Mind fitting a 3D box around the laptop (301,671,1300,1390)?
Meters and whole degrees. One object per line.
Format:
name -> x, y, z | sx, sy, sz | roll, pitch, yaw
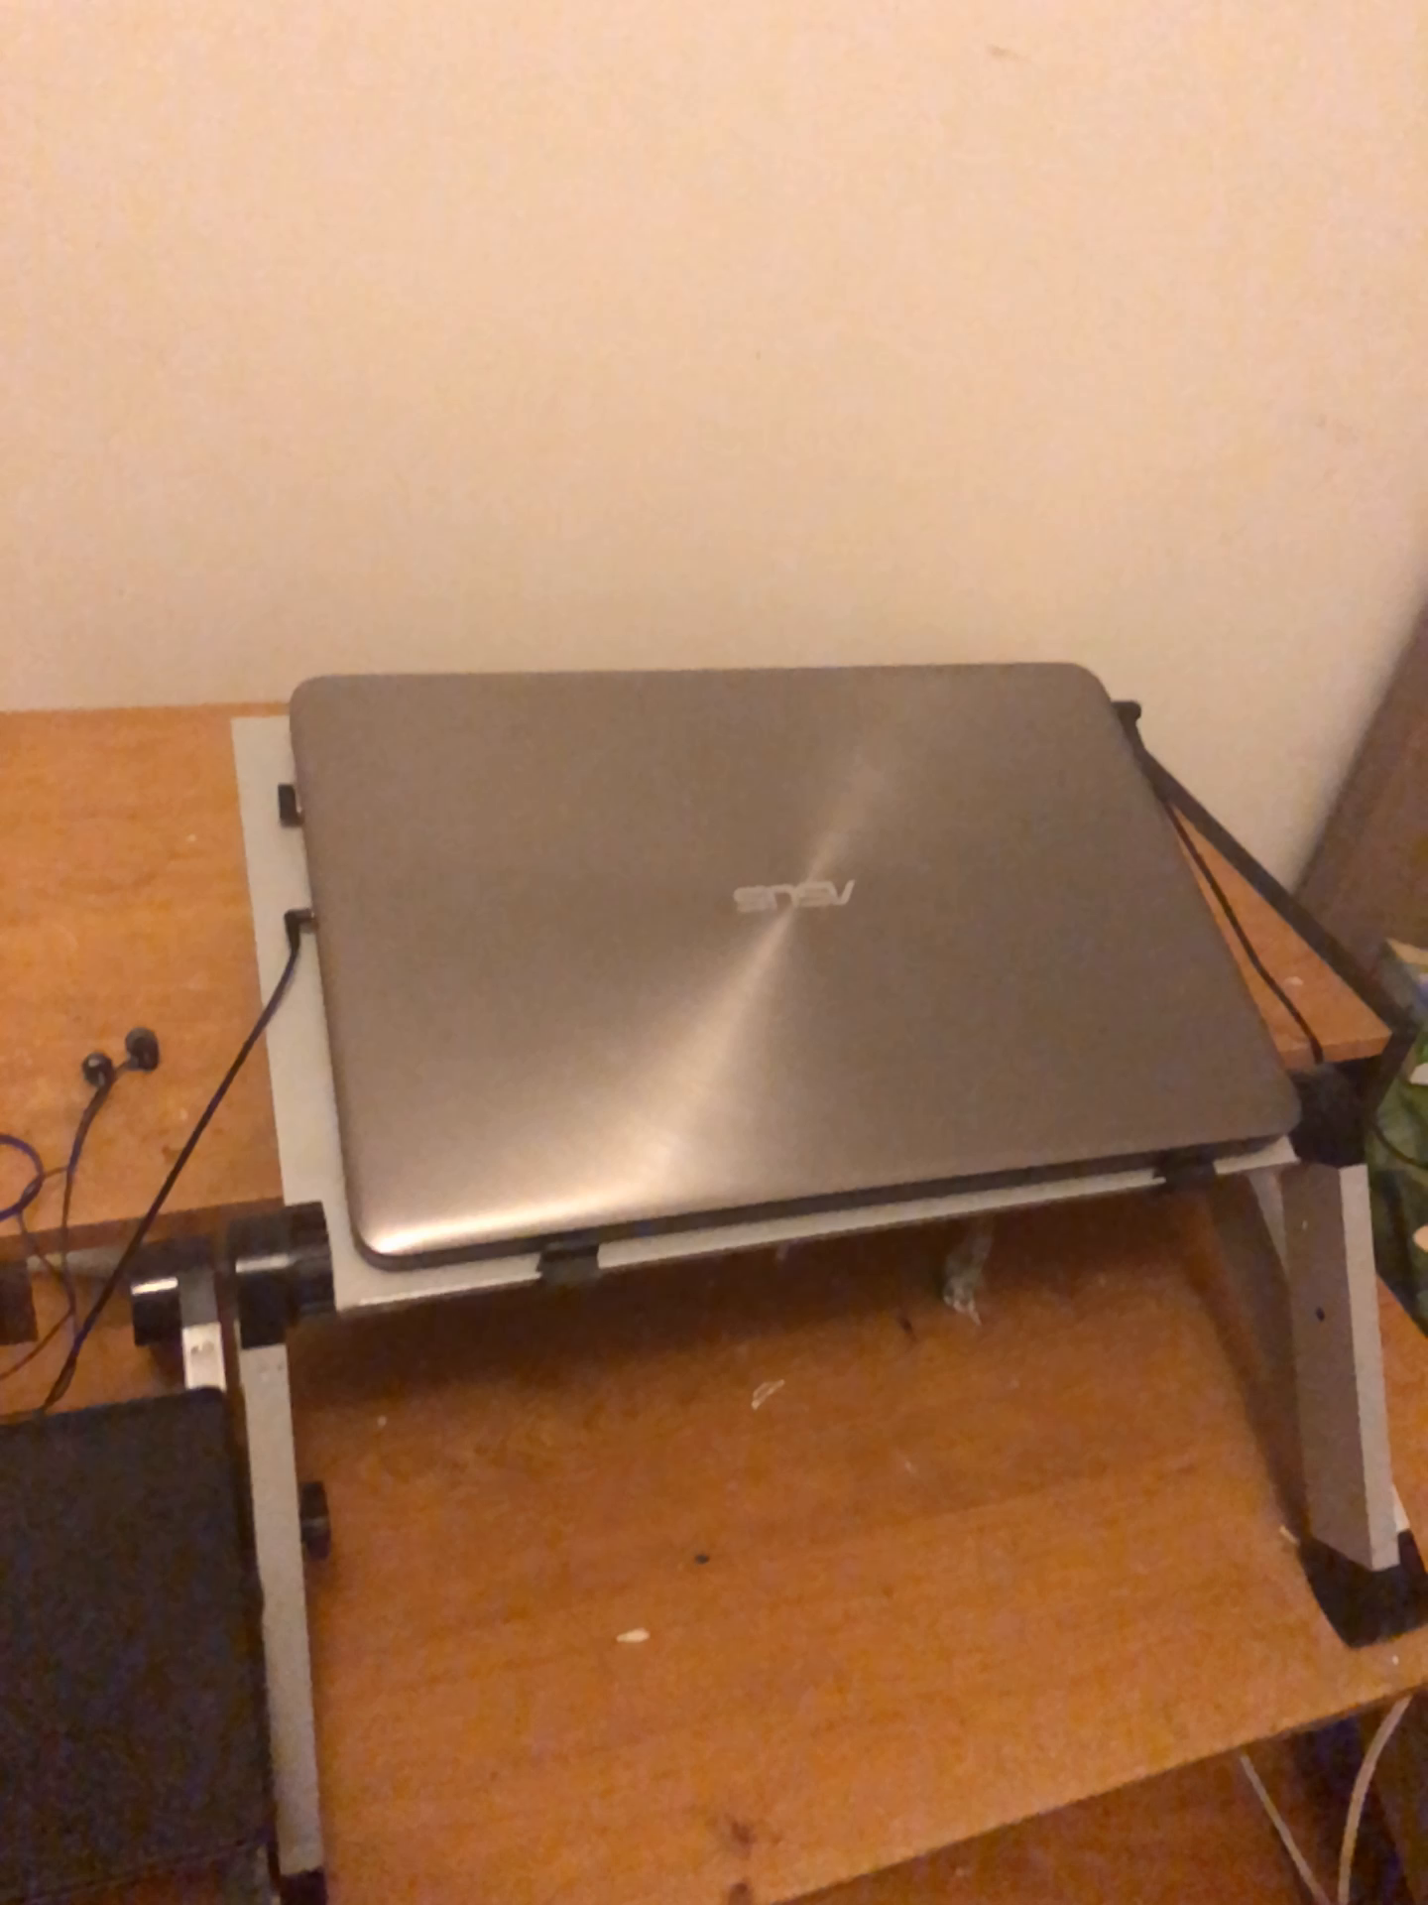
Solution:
laptop -> 0.026, 0.011, 0.657 | 0.362, 0.071, 0.250 | -5, 55, -17
